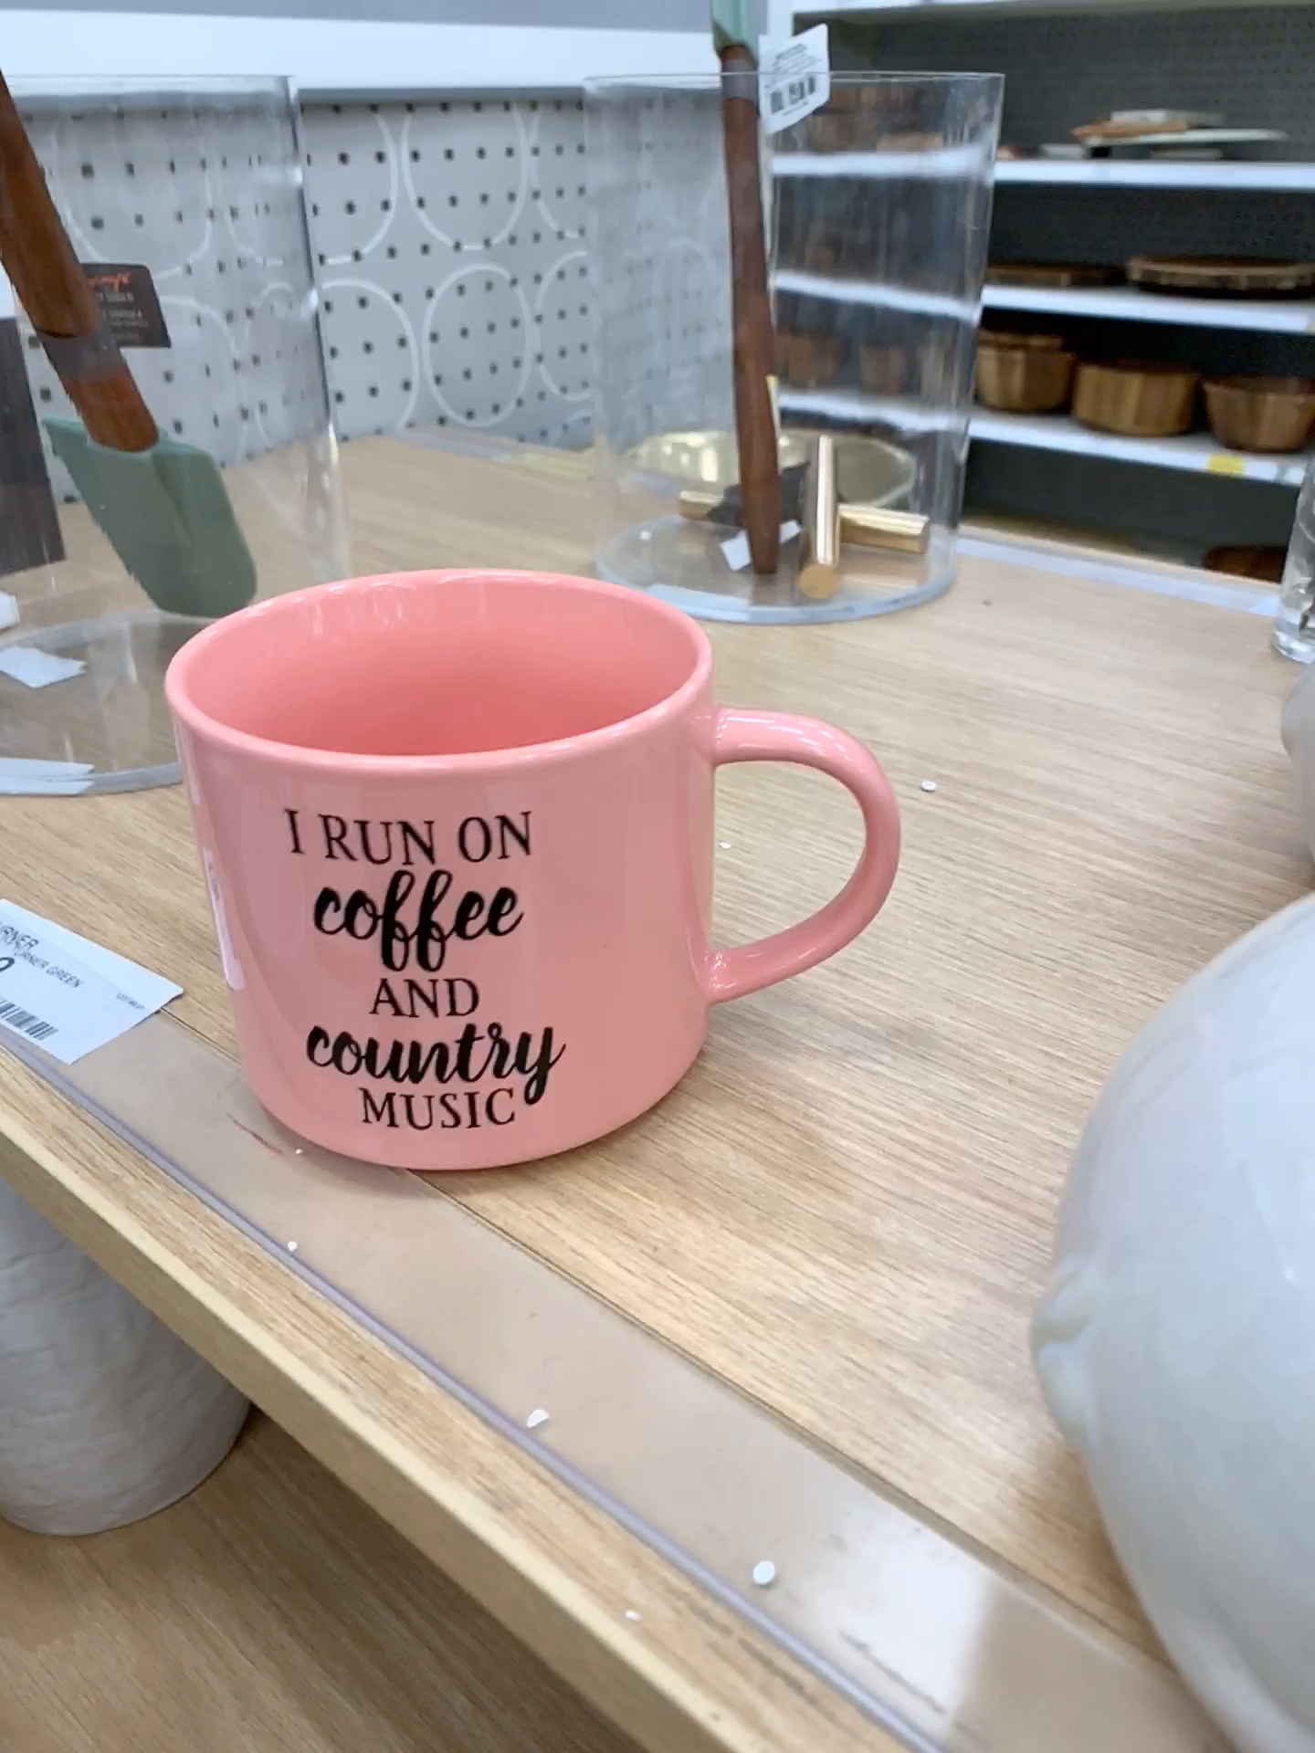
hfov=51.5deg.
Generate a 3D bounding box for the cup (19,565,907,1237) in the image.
[{"bbox_3d":[-0.025,-0.003,0.266,0.133,0.085,0.104,2,29,5],"label":"cup"}]
